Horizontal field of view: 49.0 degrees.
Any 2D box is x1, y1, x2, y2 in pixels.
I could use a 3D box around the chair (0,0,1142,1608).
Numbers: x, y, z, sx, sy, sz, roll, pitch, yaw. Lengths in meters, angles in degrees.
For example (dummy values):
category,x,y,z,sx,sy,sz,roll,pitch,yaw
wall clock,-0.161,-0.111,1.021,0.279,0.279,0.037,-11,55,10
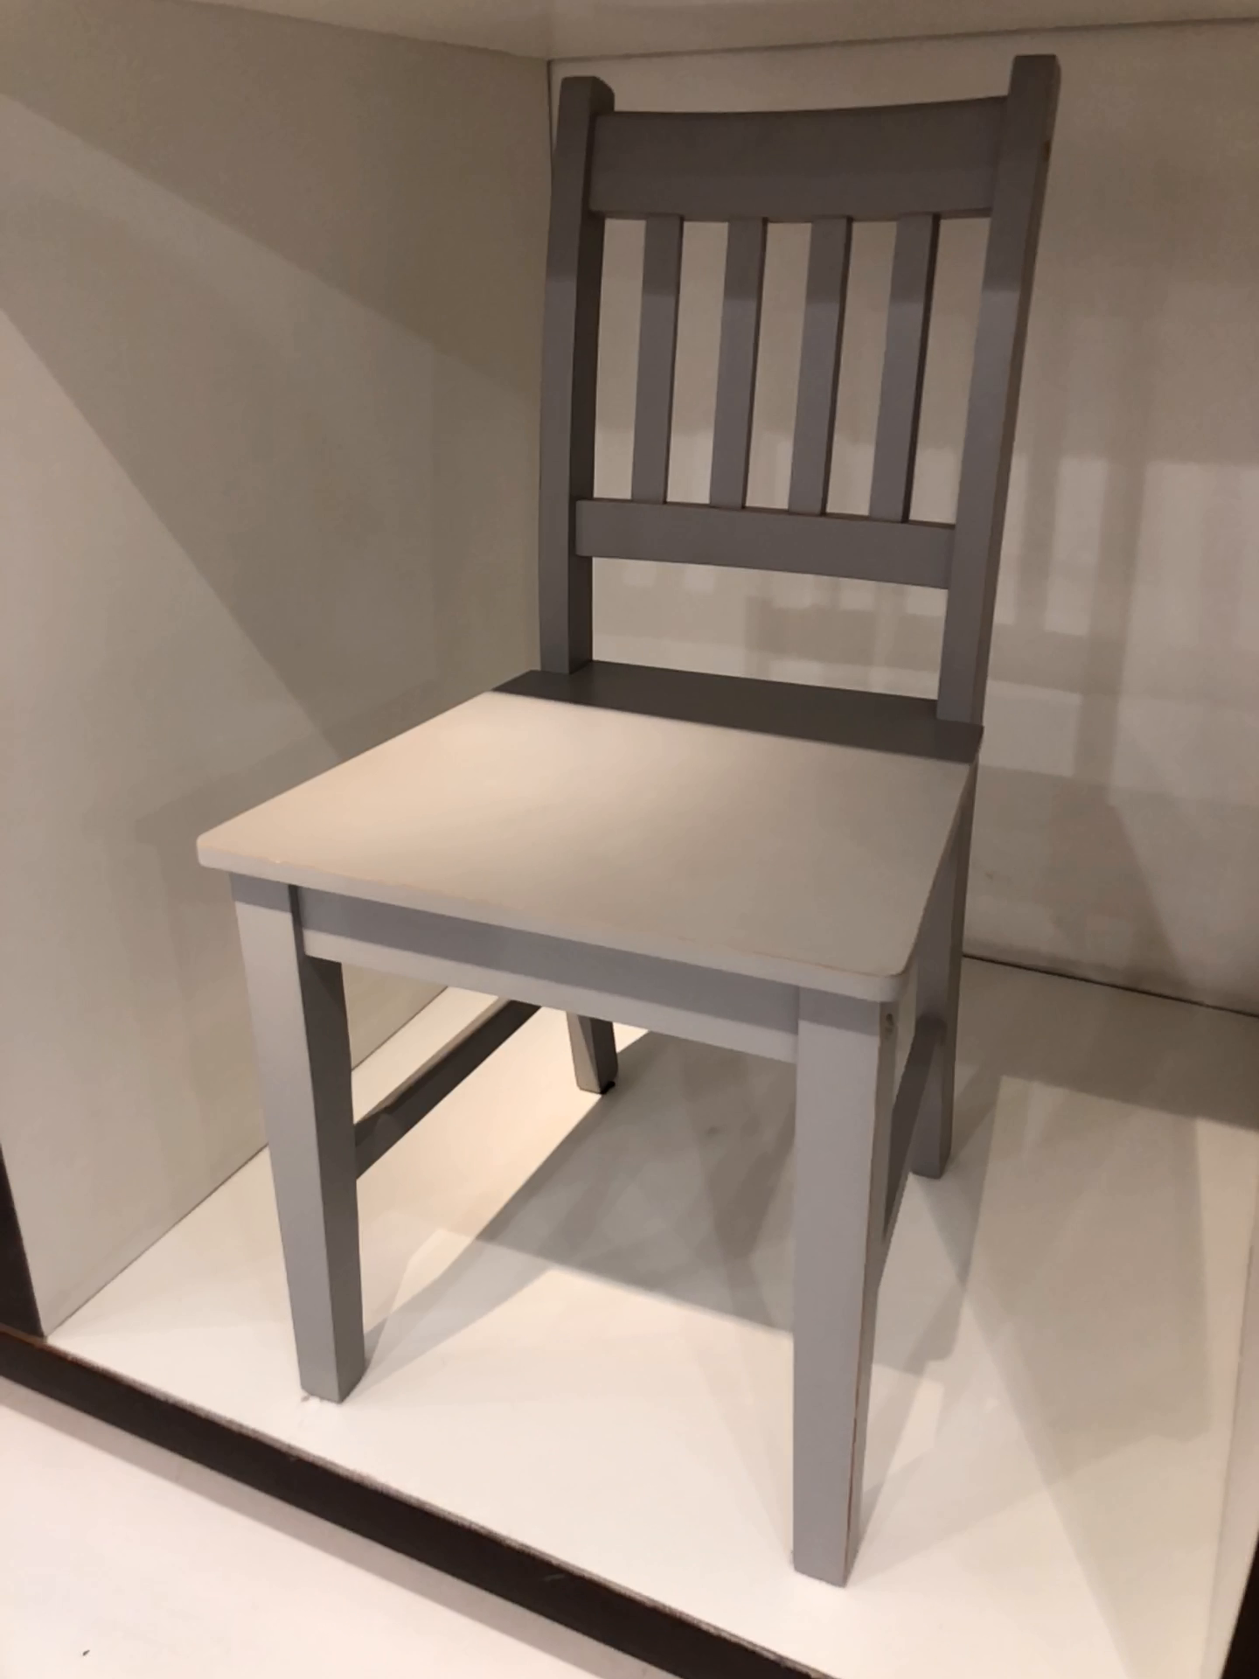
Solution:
category,x,y,z,sx,sy,sz,roll,pitch,yaw
chair,0.035,-0.087,0.976,0.460,0.864,0.584,9,26,22
